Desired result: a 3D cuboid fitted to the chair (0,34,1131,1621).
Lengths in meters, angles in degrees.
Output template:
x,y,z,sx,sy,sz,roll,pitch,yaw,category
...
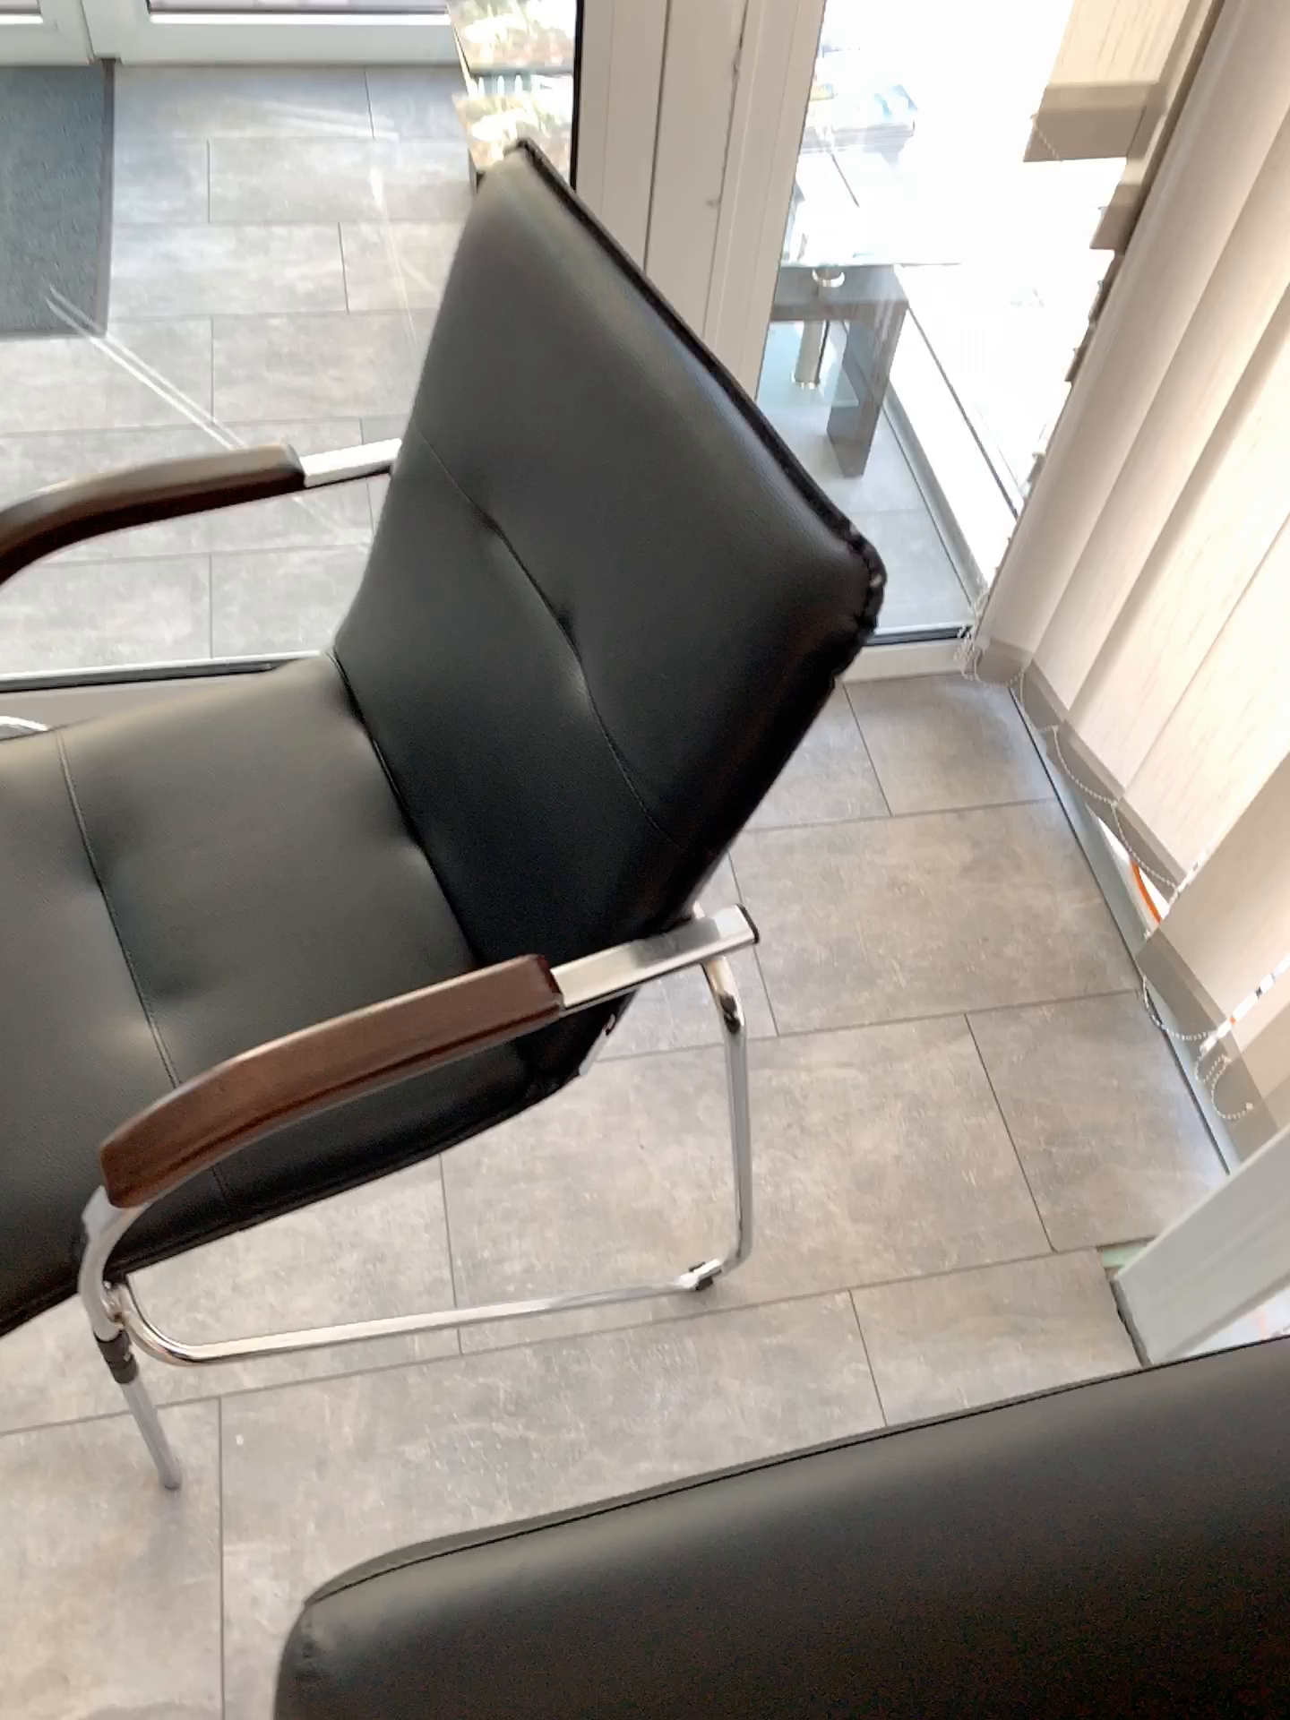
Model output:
x,y,z,sx,sy,sz,roll,pitch,yaw,category
-0.269,0.008,1.009,0.701,0.827,0.682,-20,59,-19,chair
